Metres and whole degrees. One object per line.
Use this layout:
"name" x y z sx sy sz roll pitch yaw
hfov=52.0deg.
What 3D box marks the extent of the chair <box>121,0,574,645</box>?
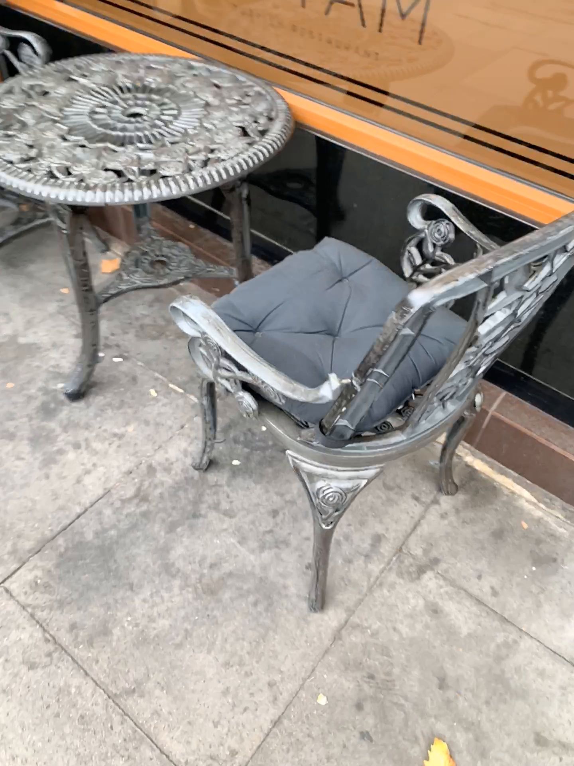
"chair" 0.124 -0.056 1.026 0.492 0.852 0.552 -34 63 -30
